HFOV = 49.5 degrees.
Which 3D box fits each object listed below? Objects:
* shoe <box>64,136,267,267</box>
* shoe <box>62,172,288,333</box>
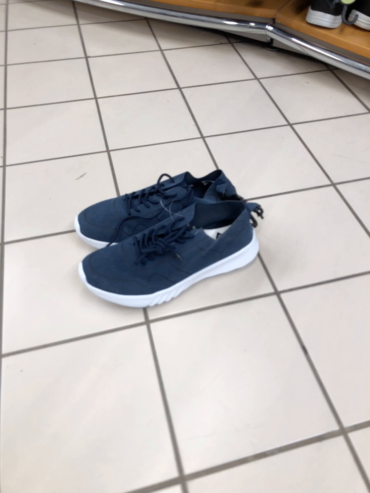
[{"bbox_3d":[-0.030,-0.076,0.650,0.291,0.109,0.100,-15,53,-14],"label":"shoe"},{"bbox_3d":[-0.012,0.004,0.590,0.291,0.119,0.100,-18,53,-16],"label":"shoe"}]
